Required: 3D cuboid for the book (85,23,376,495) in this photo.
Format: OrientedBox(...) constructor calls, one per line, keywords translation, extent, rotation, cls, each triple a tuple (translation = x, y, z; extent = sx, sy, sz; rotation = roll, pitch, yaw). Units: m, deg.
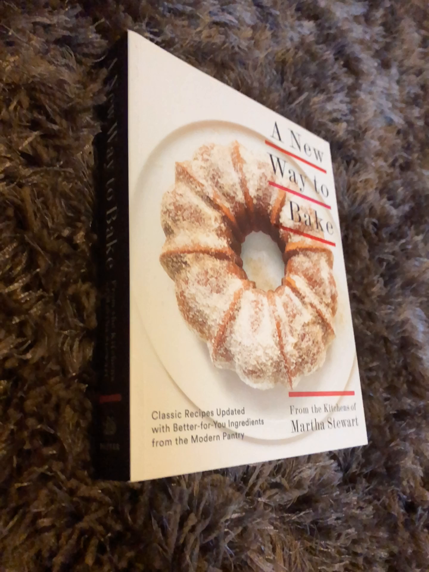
OrientedBox(translation=(0.017, -0.010, 0.300), extent=(0.193, 0.040, 0.229), rotation=(10, 70, -42), cls="book")
